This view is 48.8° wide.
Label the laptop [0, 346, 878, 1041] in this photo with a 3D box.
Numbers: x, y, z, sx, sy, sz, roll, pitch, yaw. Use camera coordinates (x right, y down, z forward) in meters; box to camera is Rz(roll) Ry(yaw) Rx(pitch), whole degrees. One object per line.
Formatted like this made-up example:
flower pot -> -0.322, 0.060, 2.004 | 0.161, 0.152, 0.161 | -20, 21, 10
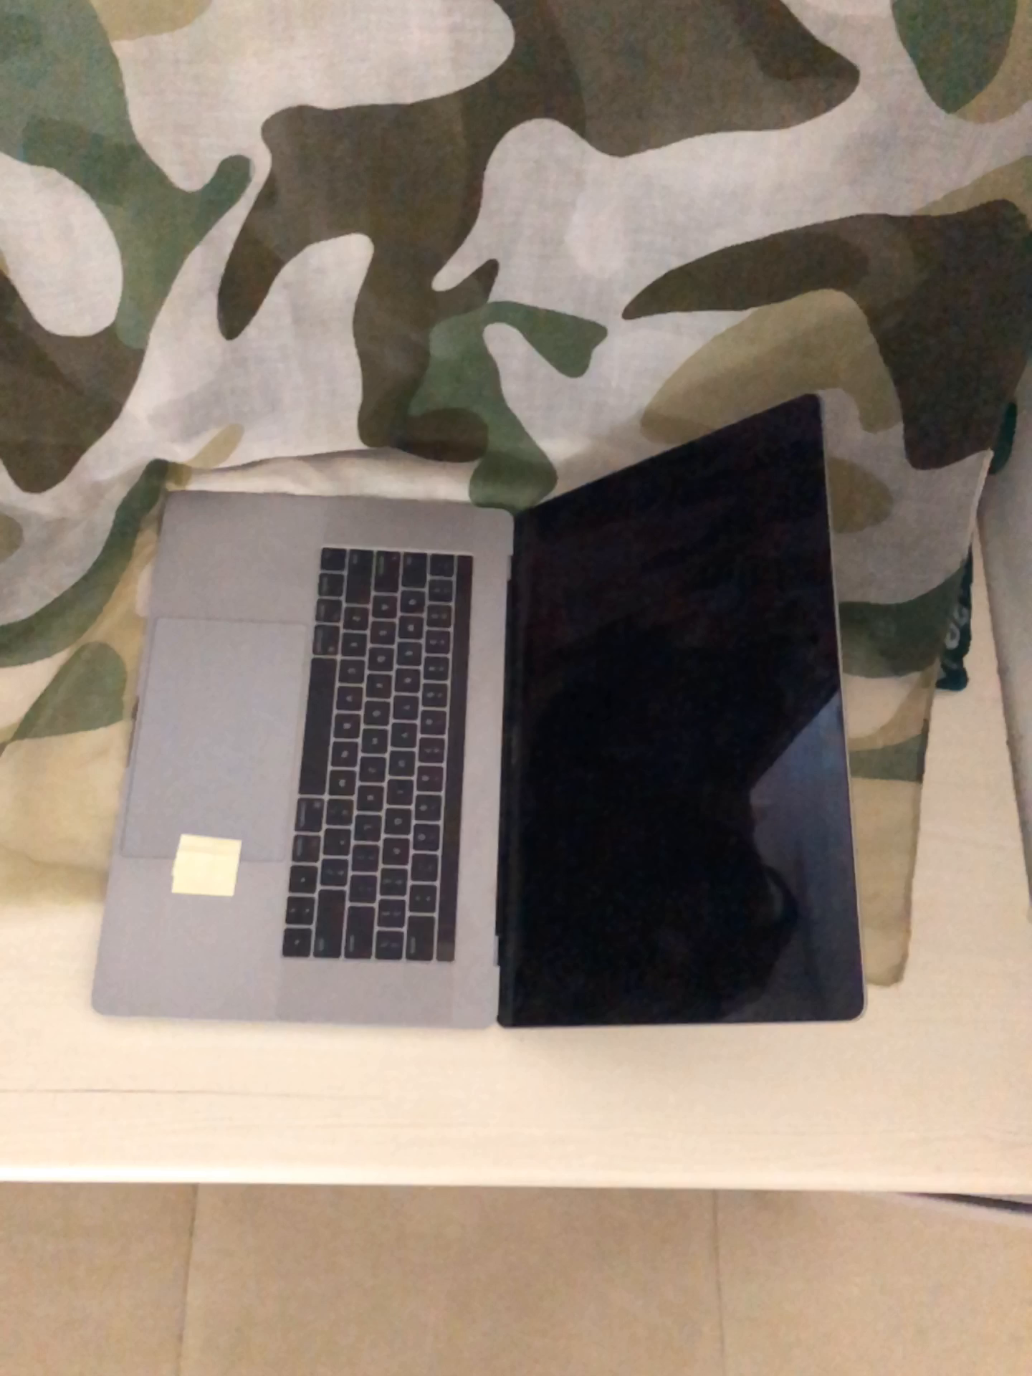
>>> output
laptop -> -0.037, 0.010, 0.654 | 0.402, 0.166, 0.342 | 3, 69, -2
